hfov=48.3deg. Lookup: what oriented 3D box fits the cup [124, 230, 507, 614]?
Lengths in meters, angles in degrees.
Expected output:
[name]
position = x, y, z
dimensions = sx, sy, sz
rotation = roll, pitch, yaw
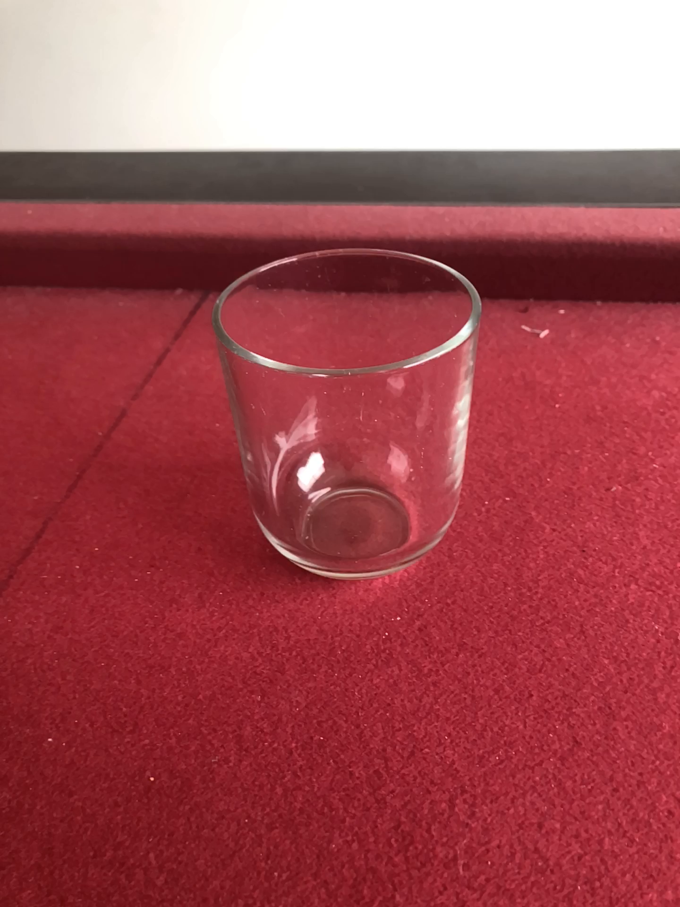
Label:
[cup]
position = 0.000, -0.014, 0.224
dimensions = 0.080, 0.070, 0.081
rotation = -2, 37, 2
